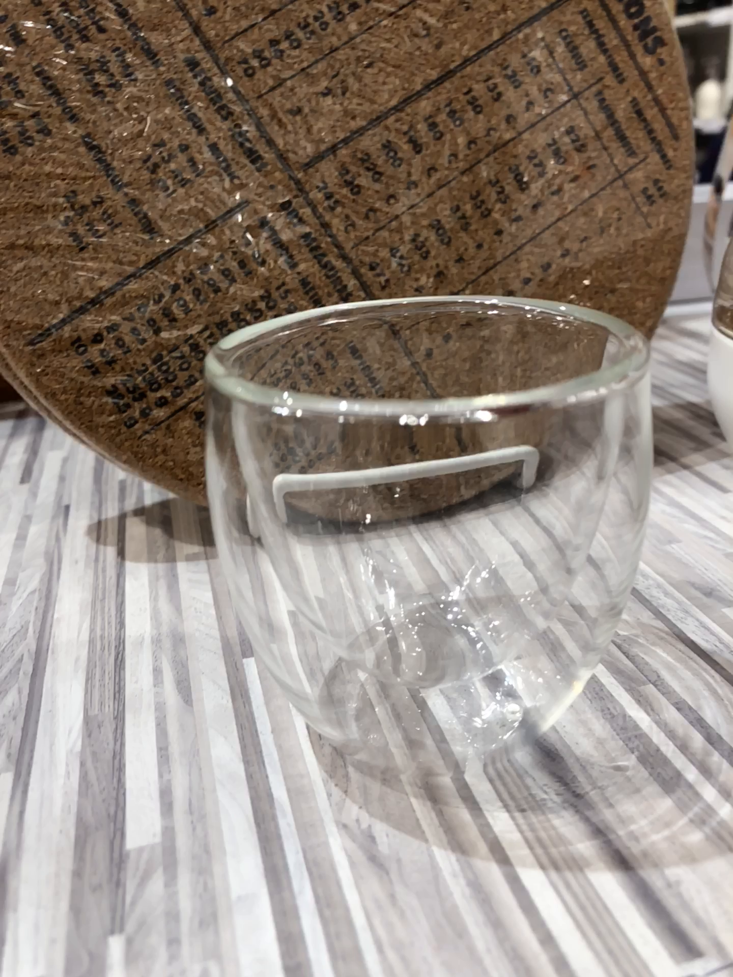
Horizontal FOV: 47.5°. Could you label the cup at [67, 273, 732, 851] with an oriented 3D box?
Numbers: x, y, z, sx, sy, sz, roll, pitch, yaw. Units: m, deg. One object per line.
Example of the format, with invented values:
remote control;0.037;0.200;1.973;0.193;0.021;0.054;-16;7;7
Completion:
cup;0.012;0.000;0.121;0.070;0.050;0.070;-3;23;1
